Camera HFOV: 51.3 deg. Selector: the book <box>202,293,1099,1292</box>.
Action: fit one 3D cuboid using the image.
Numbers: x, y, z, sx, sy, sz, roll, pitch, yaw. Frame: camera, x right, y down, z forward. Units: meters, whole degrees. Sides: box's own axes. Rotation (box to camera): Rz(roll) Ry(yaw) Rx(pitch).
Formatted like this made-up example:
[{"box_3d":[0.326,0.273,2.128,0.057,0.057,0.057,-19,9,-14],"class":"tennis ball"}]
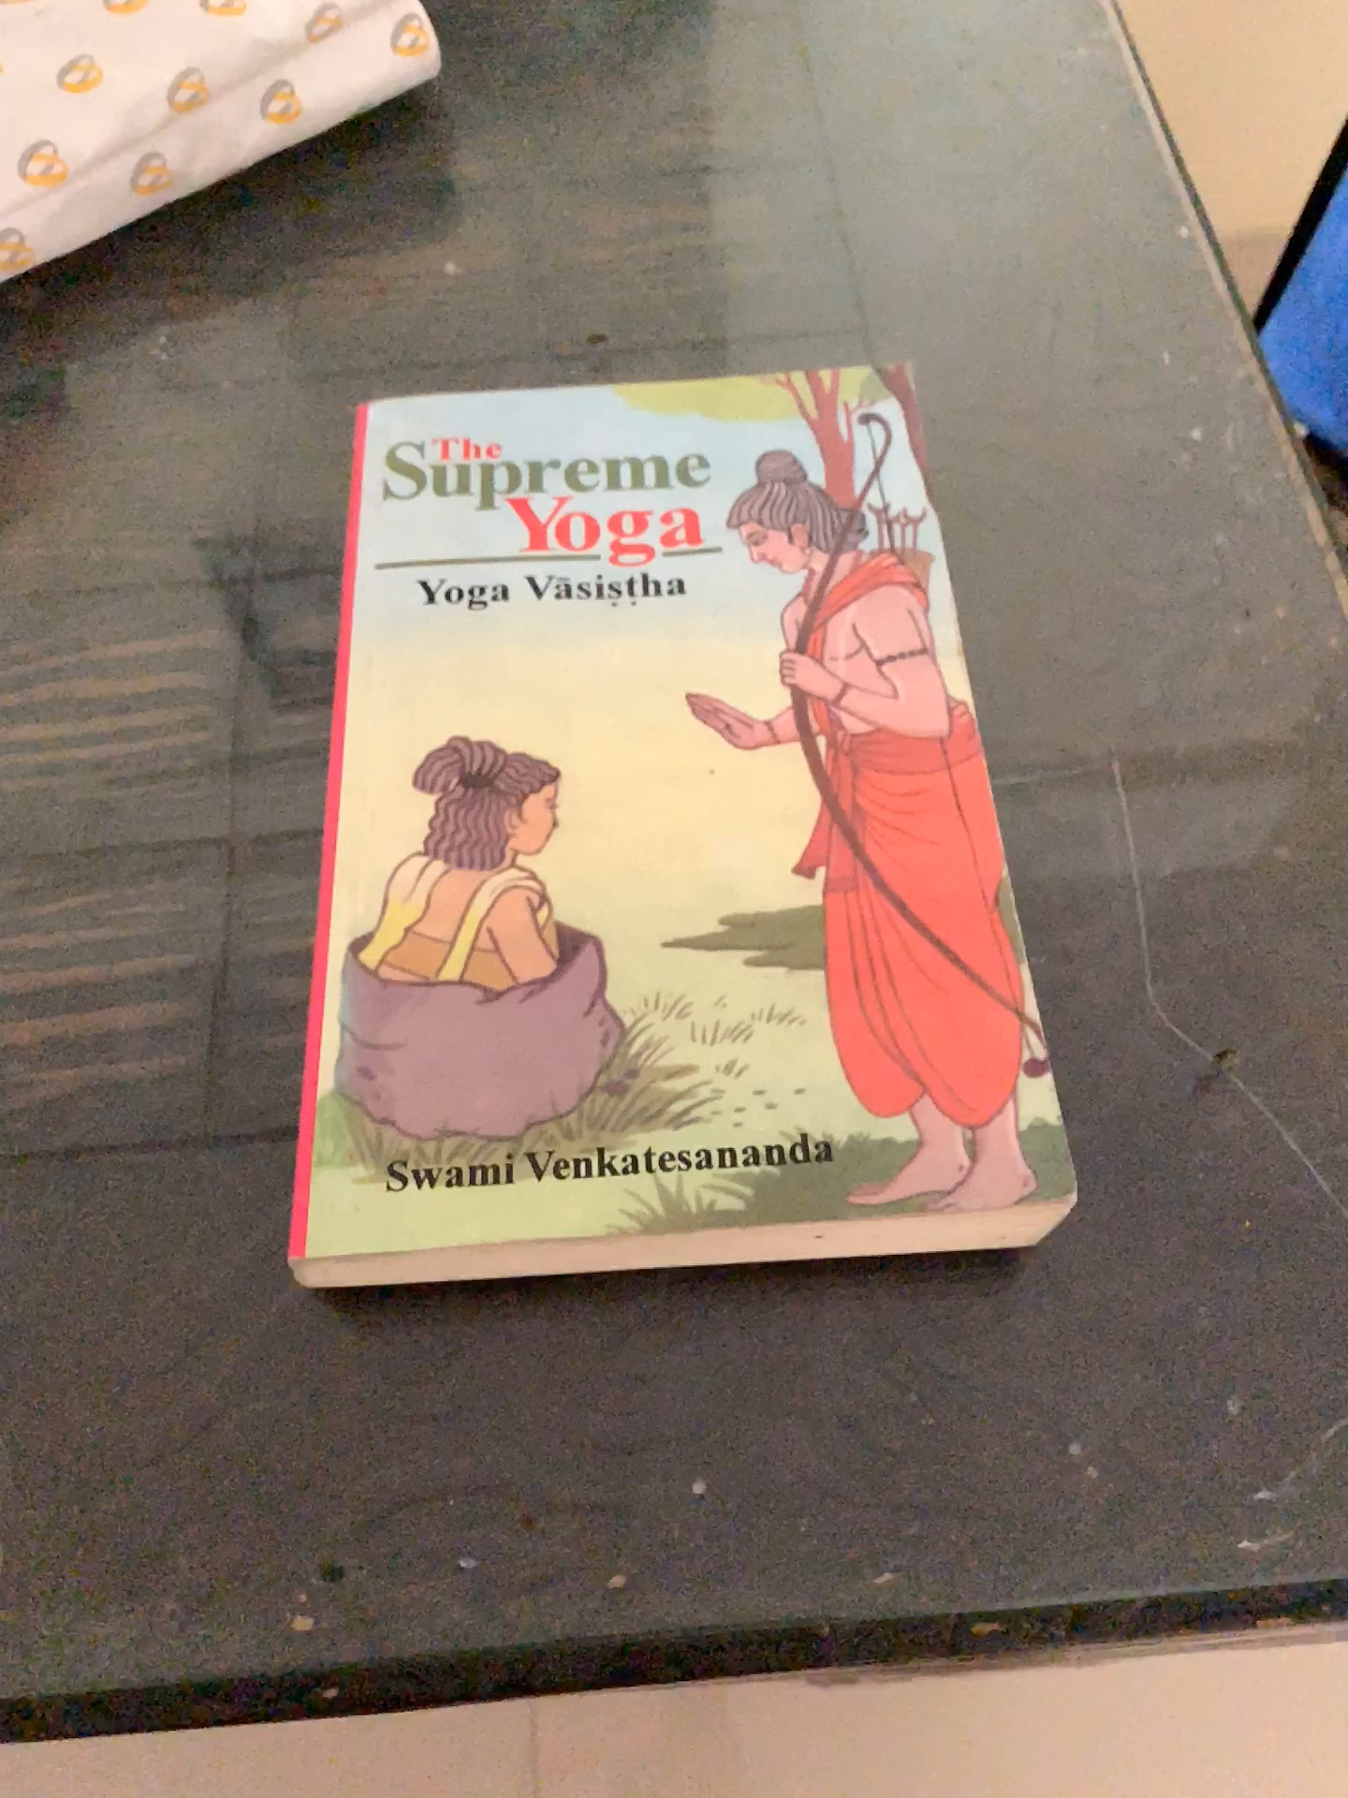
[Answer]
[{"box_3d":[-0.010,-0.035,0.284,0.140,0.030,0.211,-4,60,0],"class":"book"}]
